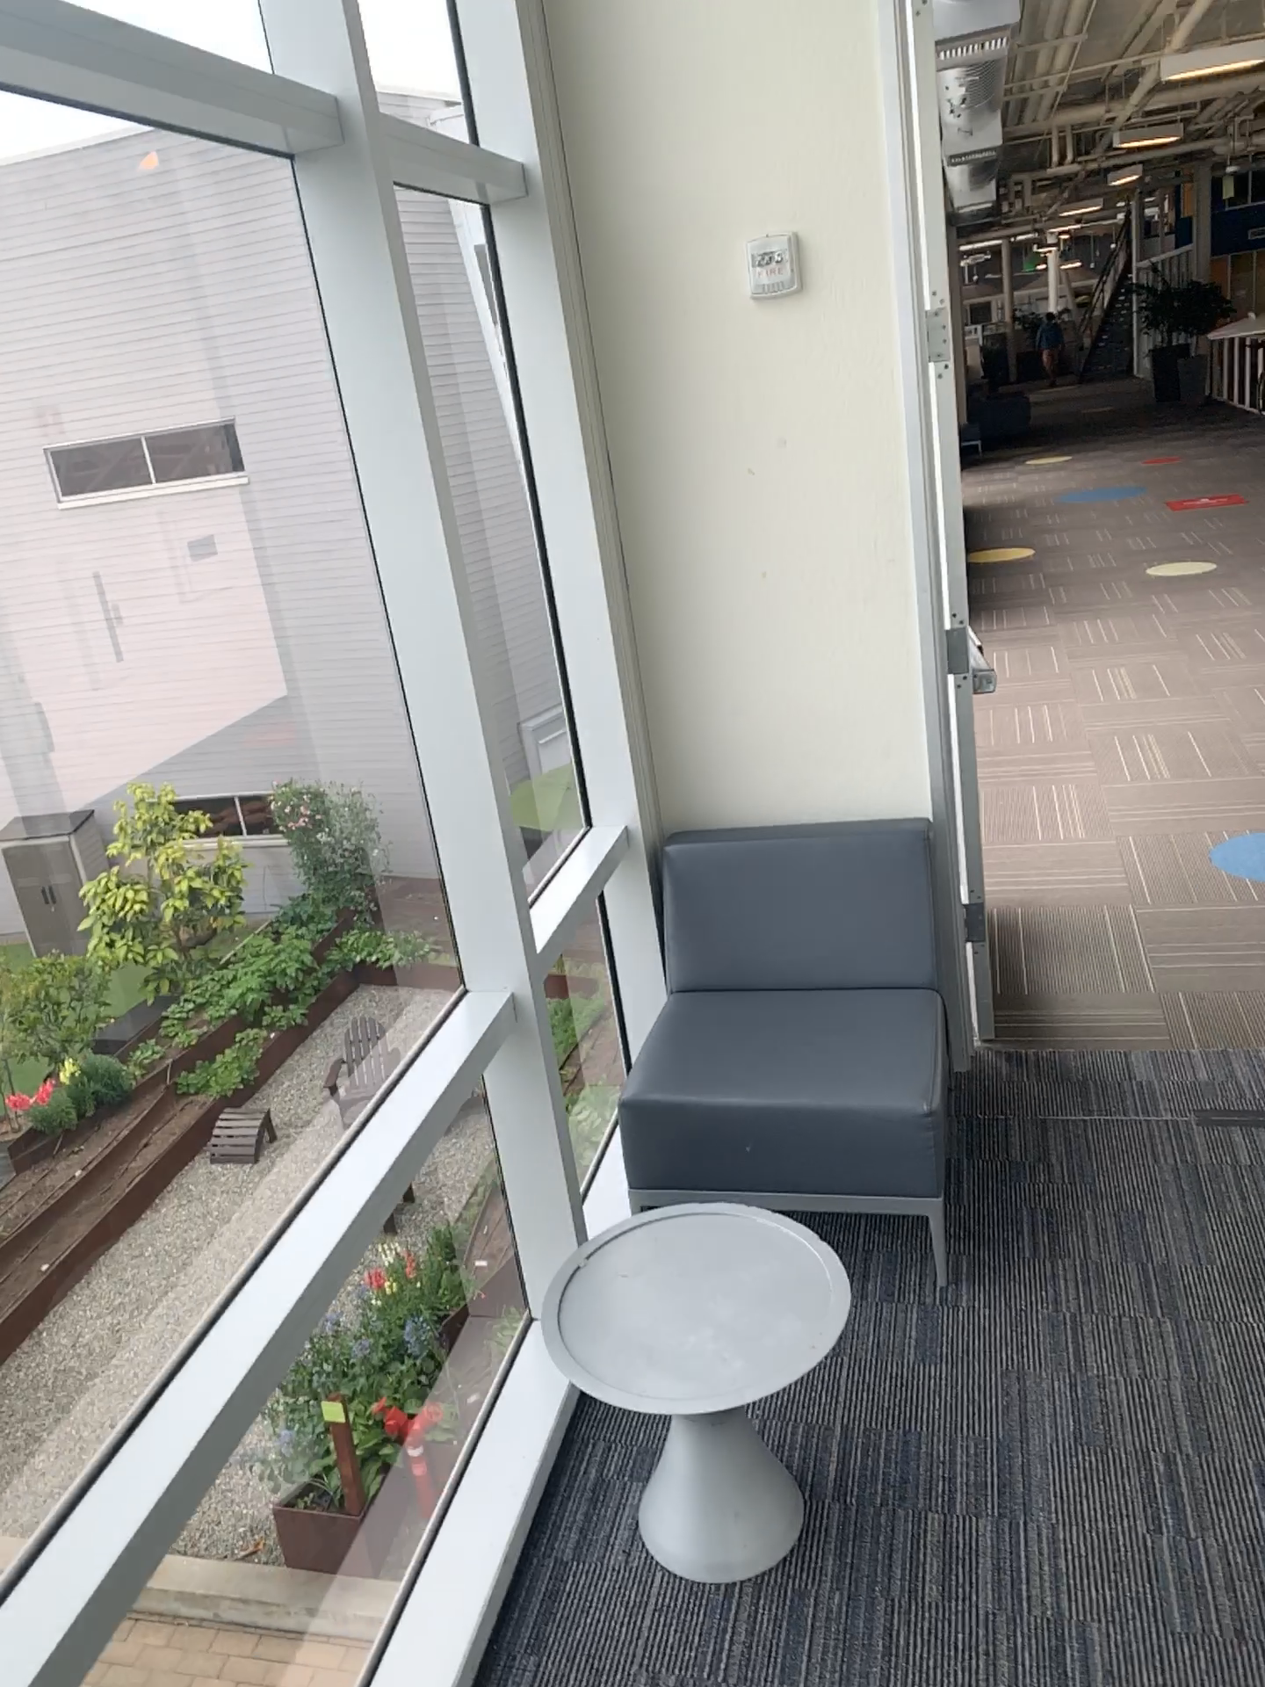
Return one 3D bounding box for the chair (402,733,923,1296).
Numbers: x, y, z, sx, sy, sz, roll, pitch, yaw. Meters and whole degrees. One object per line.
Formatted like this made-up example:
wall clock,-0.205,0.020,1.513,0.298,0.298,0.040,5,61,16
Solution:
chair,0.171,0.375,3.279,1.001,0.996,1.004,-3,20,16
